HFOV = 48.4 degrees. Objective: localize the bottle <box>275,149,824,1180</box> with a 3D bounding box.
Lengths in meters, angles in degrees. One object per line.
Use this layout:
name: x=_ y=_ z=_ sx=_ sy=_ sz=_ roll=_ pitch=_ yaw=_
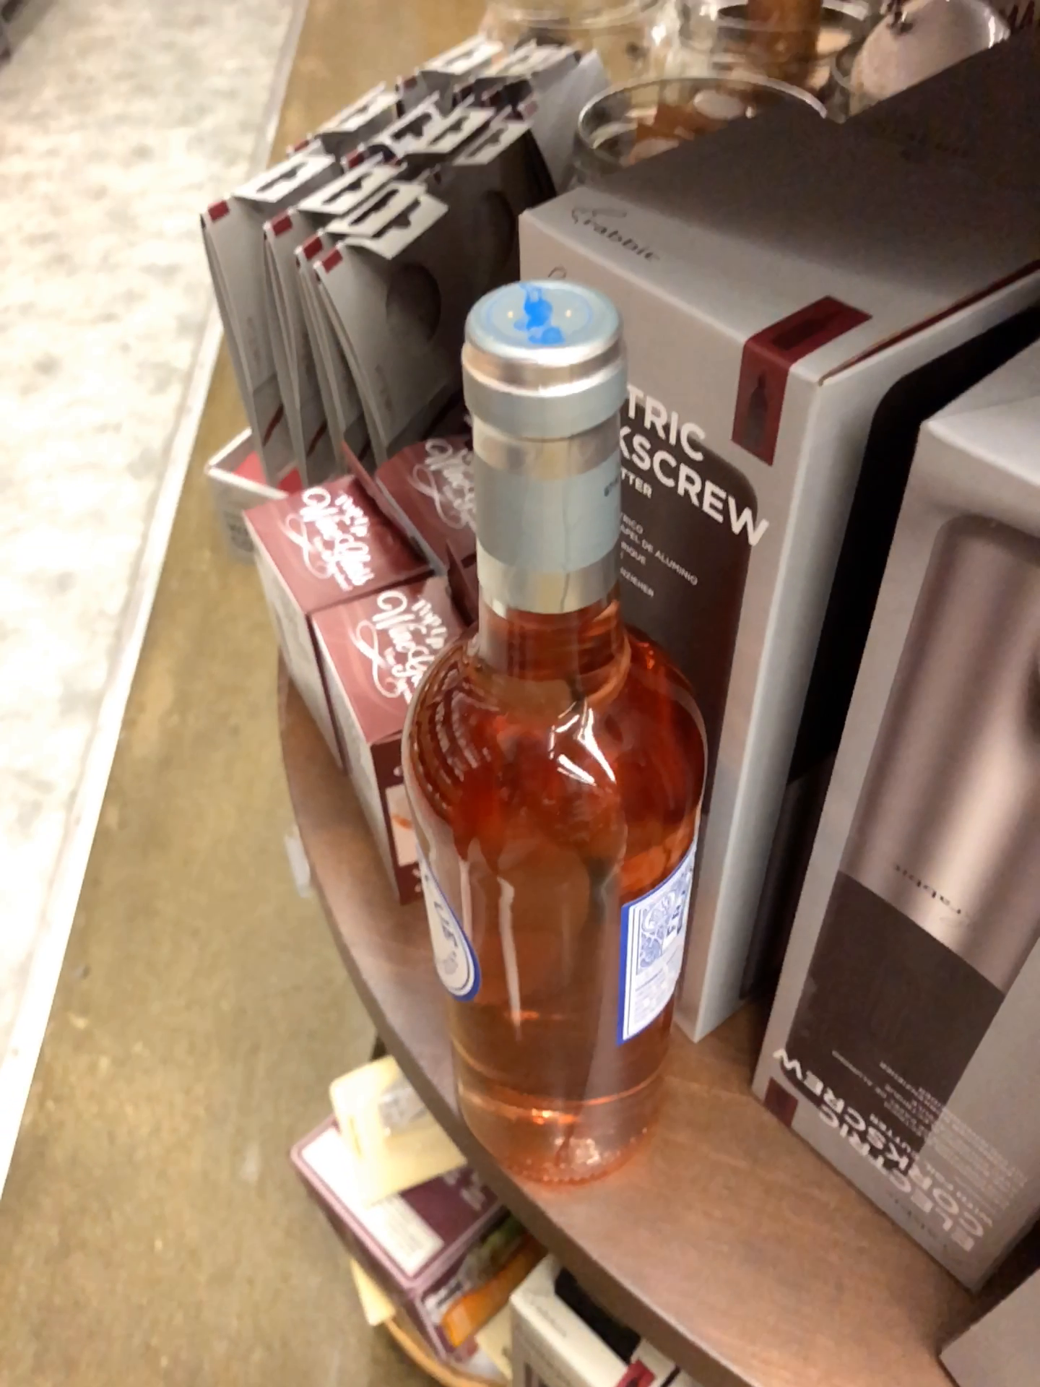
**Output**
bottle: x=0.009 y=0.027 z=0.299 sx=0.080 sy=0.289 sz=0.078 roll=-2 pitch=46 yaw=2
